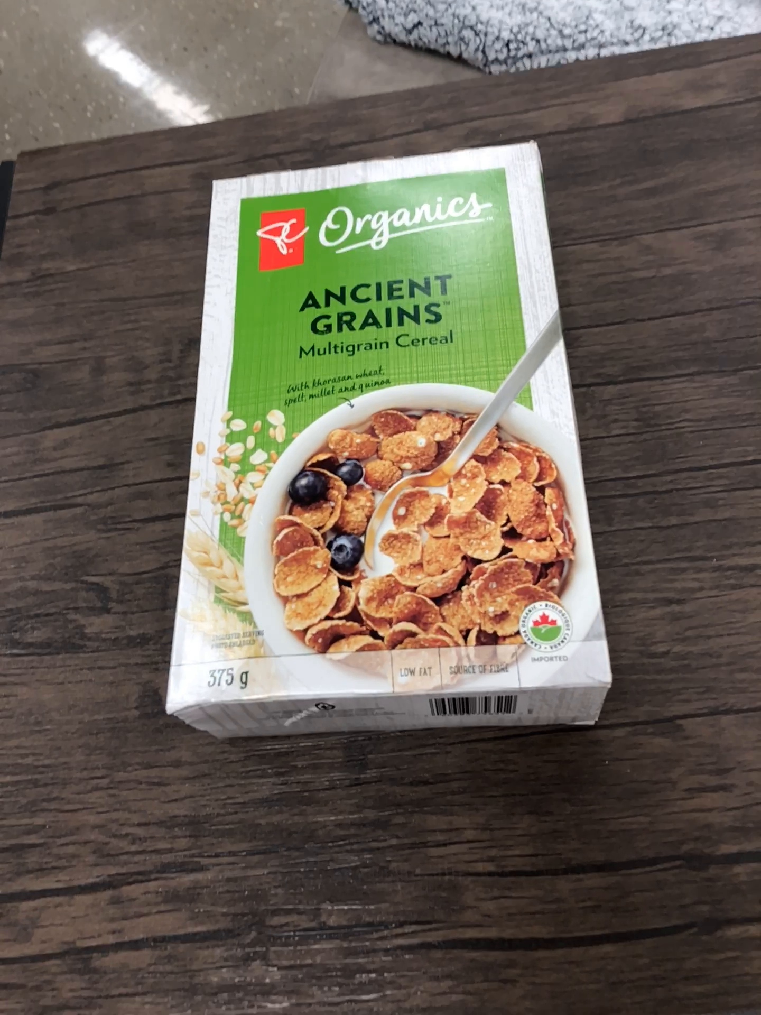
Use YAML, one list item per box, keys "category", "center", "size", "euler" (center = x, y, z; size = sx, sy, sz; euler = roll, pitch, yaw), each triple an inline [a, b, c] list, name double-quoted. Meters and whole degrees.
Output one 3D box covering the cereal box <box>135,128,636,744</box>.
- category: "cereal box"
  center: [-0.001, -0.035, 0.368]
  size: [0.170, 0.070, 0.250]
  euler: [-5, 65, 6]
